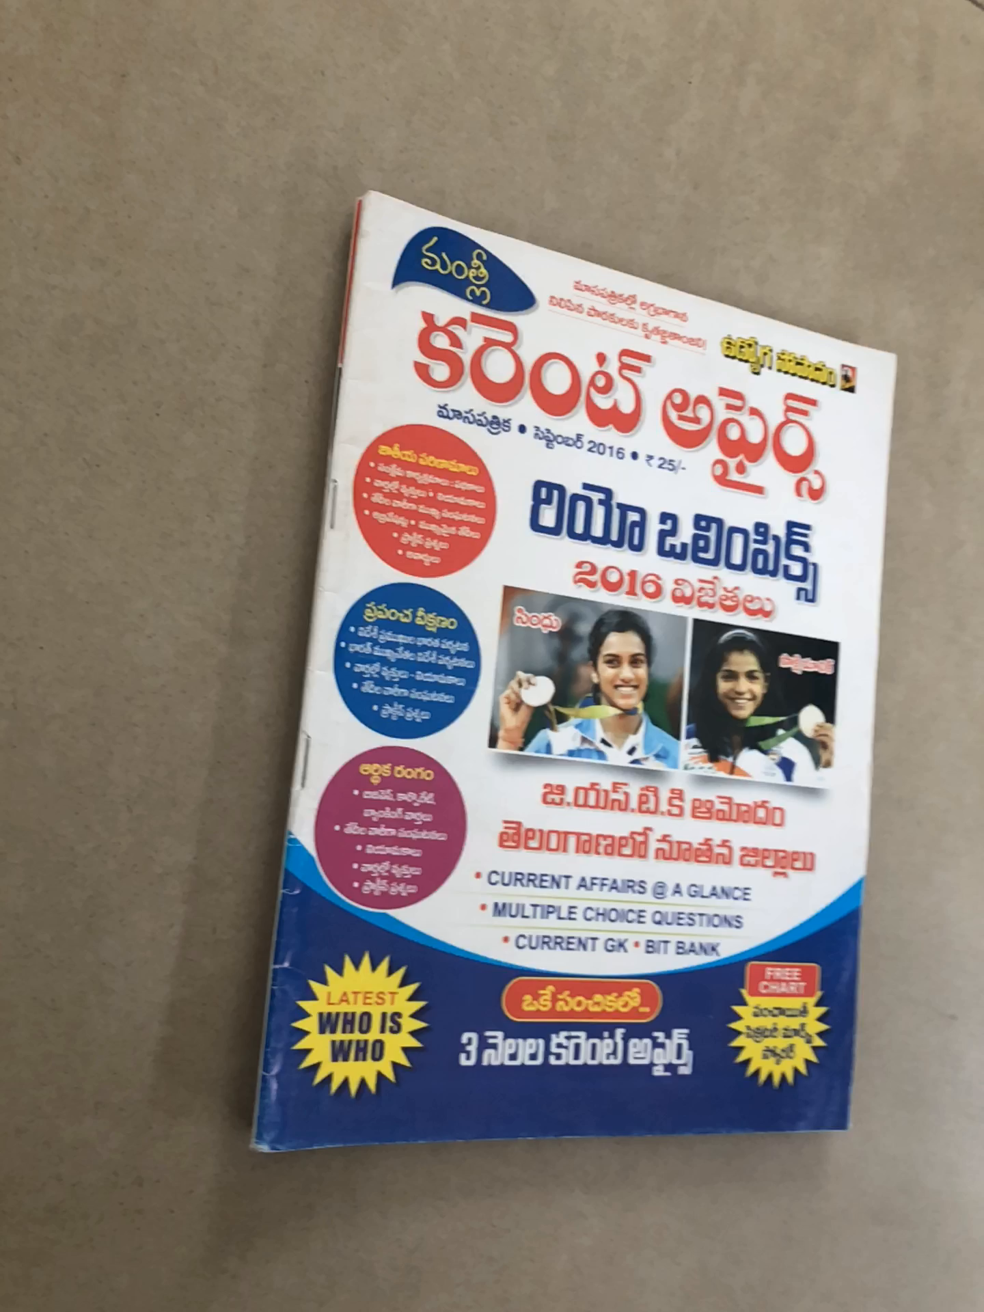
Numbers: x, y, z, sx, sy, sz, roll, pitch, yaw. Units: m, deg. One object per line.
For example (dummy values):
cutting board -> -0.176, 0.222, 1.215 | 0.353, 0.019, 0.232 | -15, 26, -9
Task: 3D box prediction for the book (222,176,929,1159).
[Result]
book -> 0.040, 0.011, 0.326 | 0.200, 0.010, 0.260 | 9, 82, -21
